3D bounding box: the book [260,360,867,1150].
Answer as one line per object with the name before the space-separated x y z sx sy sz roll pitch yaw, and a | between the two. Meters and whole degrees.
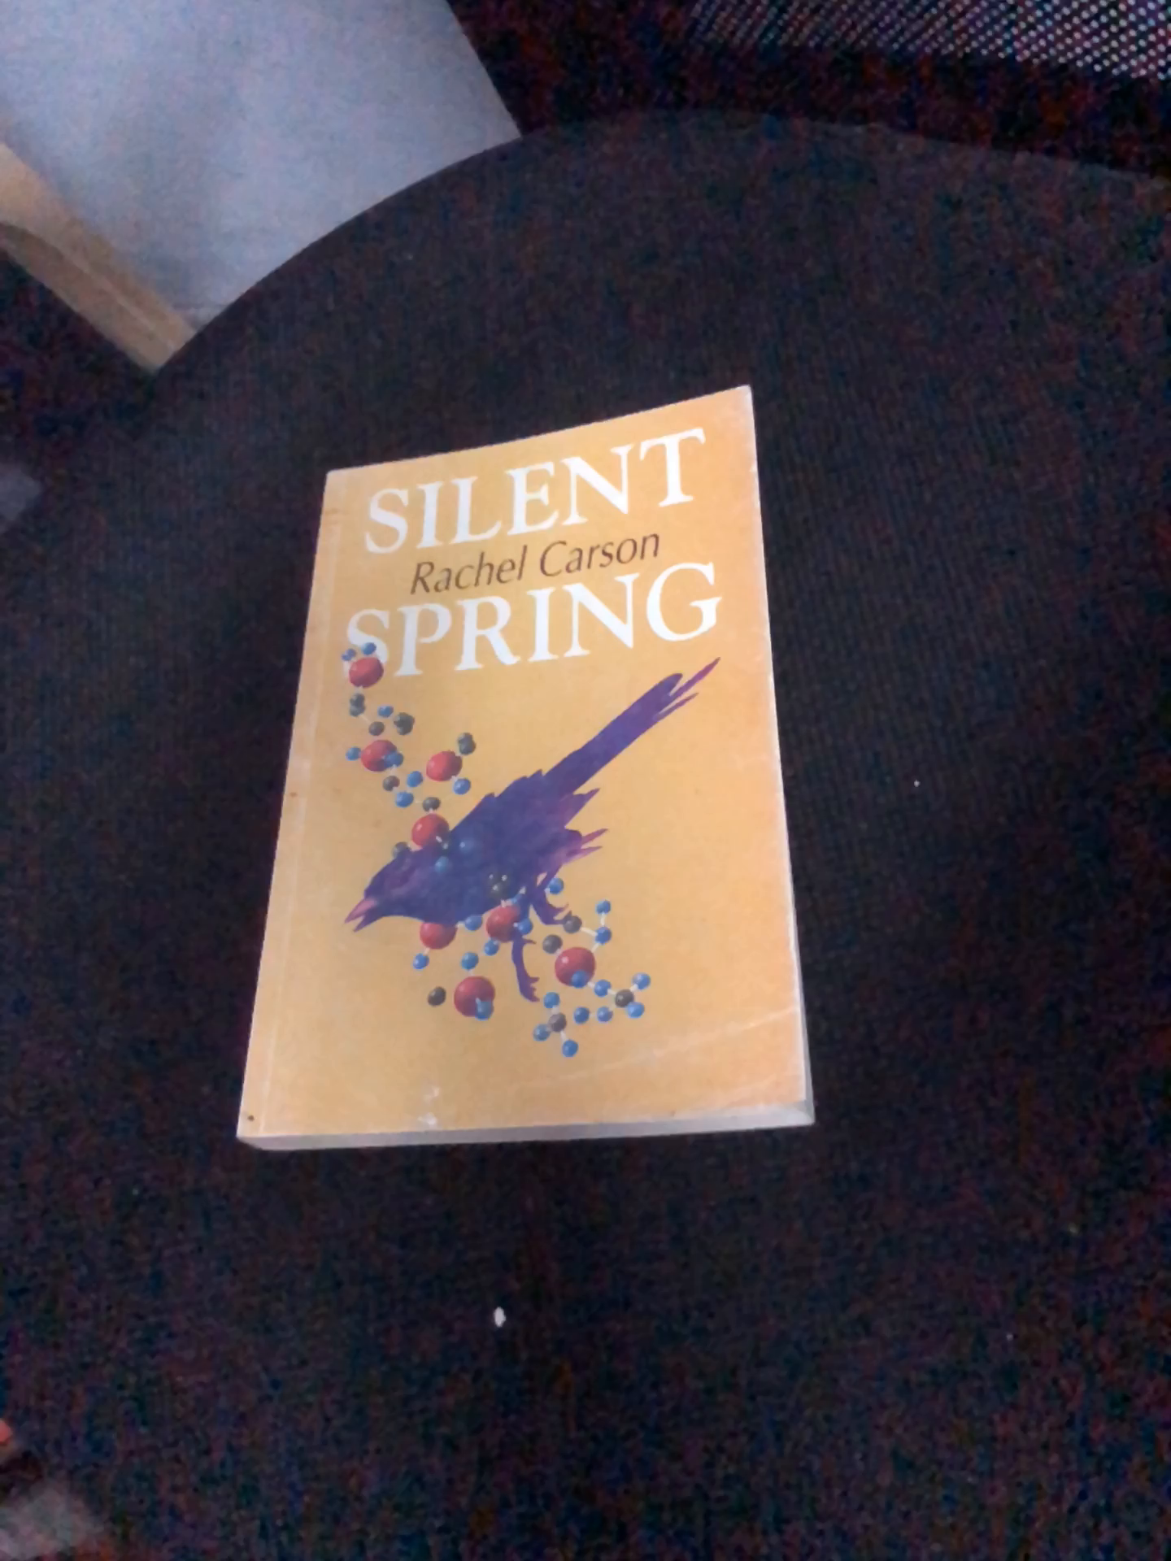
book | -0.007 -0.013 0.373 0.150 0.030 0.220 -8 62 15
